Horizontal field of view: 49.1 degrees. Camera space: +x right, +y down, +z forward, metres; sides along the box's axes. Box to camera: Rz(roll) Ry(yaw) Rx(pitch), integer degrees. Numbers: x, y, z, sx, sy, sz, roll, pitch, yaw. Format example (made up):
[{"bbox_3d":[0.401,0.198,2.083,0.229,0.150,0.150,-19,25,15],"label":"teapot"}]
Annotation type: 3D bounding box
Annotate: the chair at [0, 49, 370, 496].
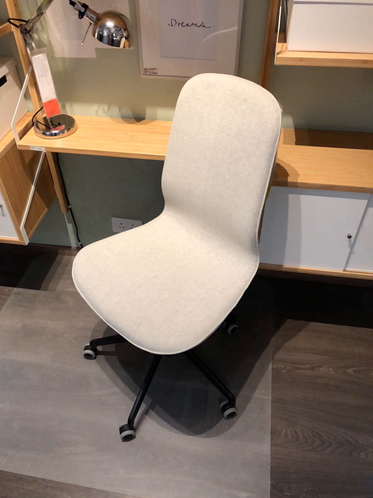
[{"bbox_3d":[-0.061,0.049,1.170,0.652,0.904,0.623,-31,50,-30],"label":"chair"}]
